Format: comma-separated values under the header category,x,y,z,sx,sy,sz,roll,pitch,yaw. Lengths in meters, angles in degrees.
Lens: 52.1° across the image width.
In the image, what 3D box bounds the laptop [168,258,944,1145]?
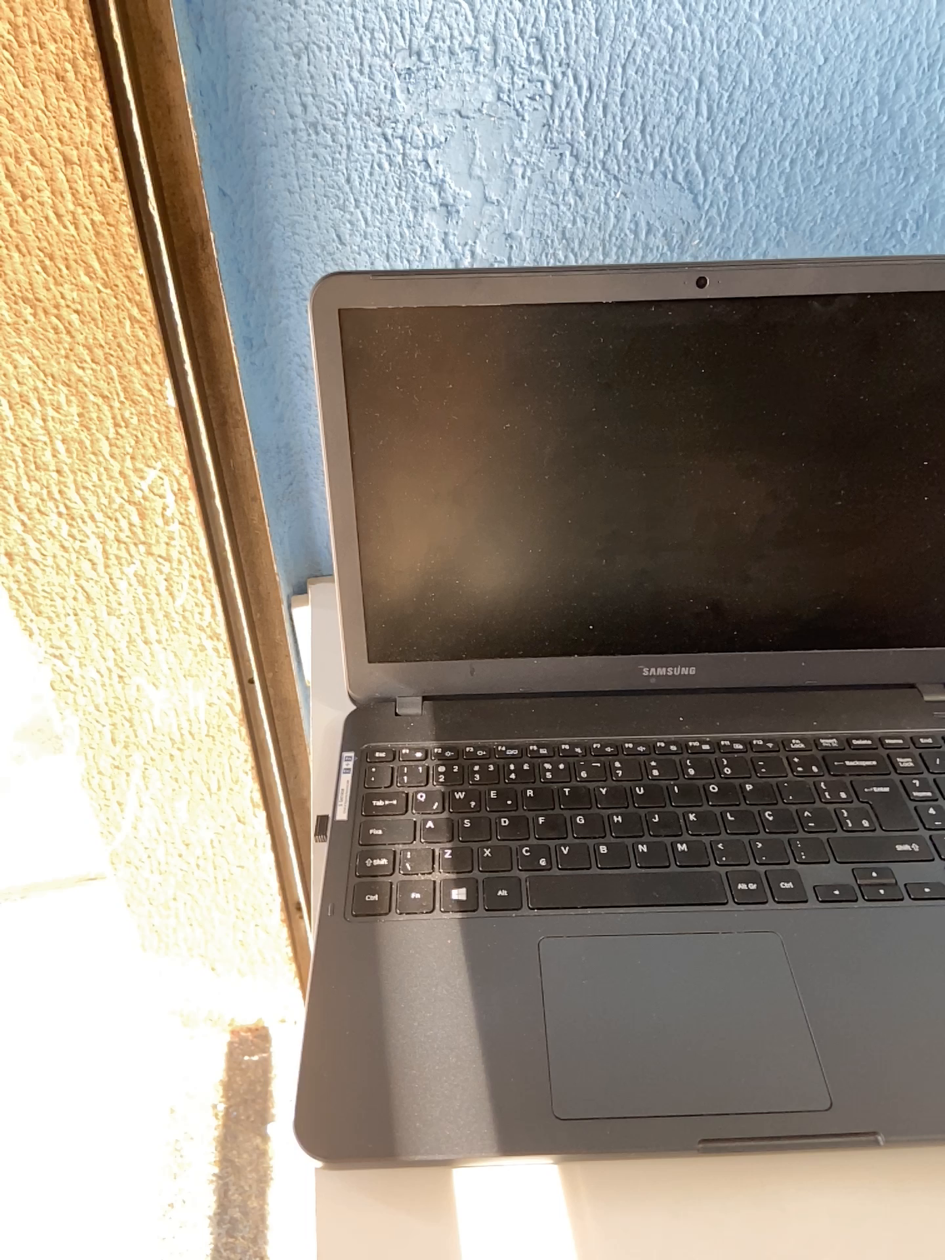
category,x,y,z,sx,sy,sz,roll,pitch,yaw
laptop,0.113,0.009,0.414,0.370,0.232,0.288,-2,37,0
